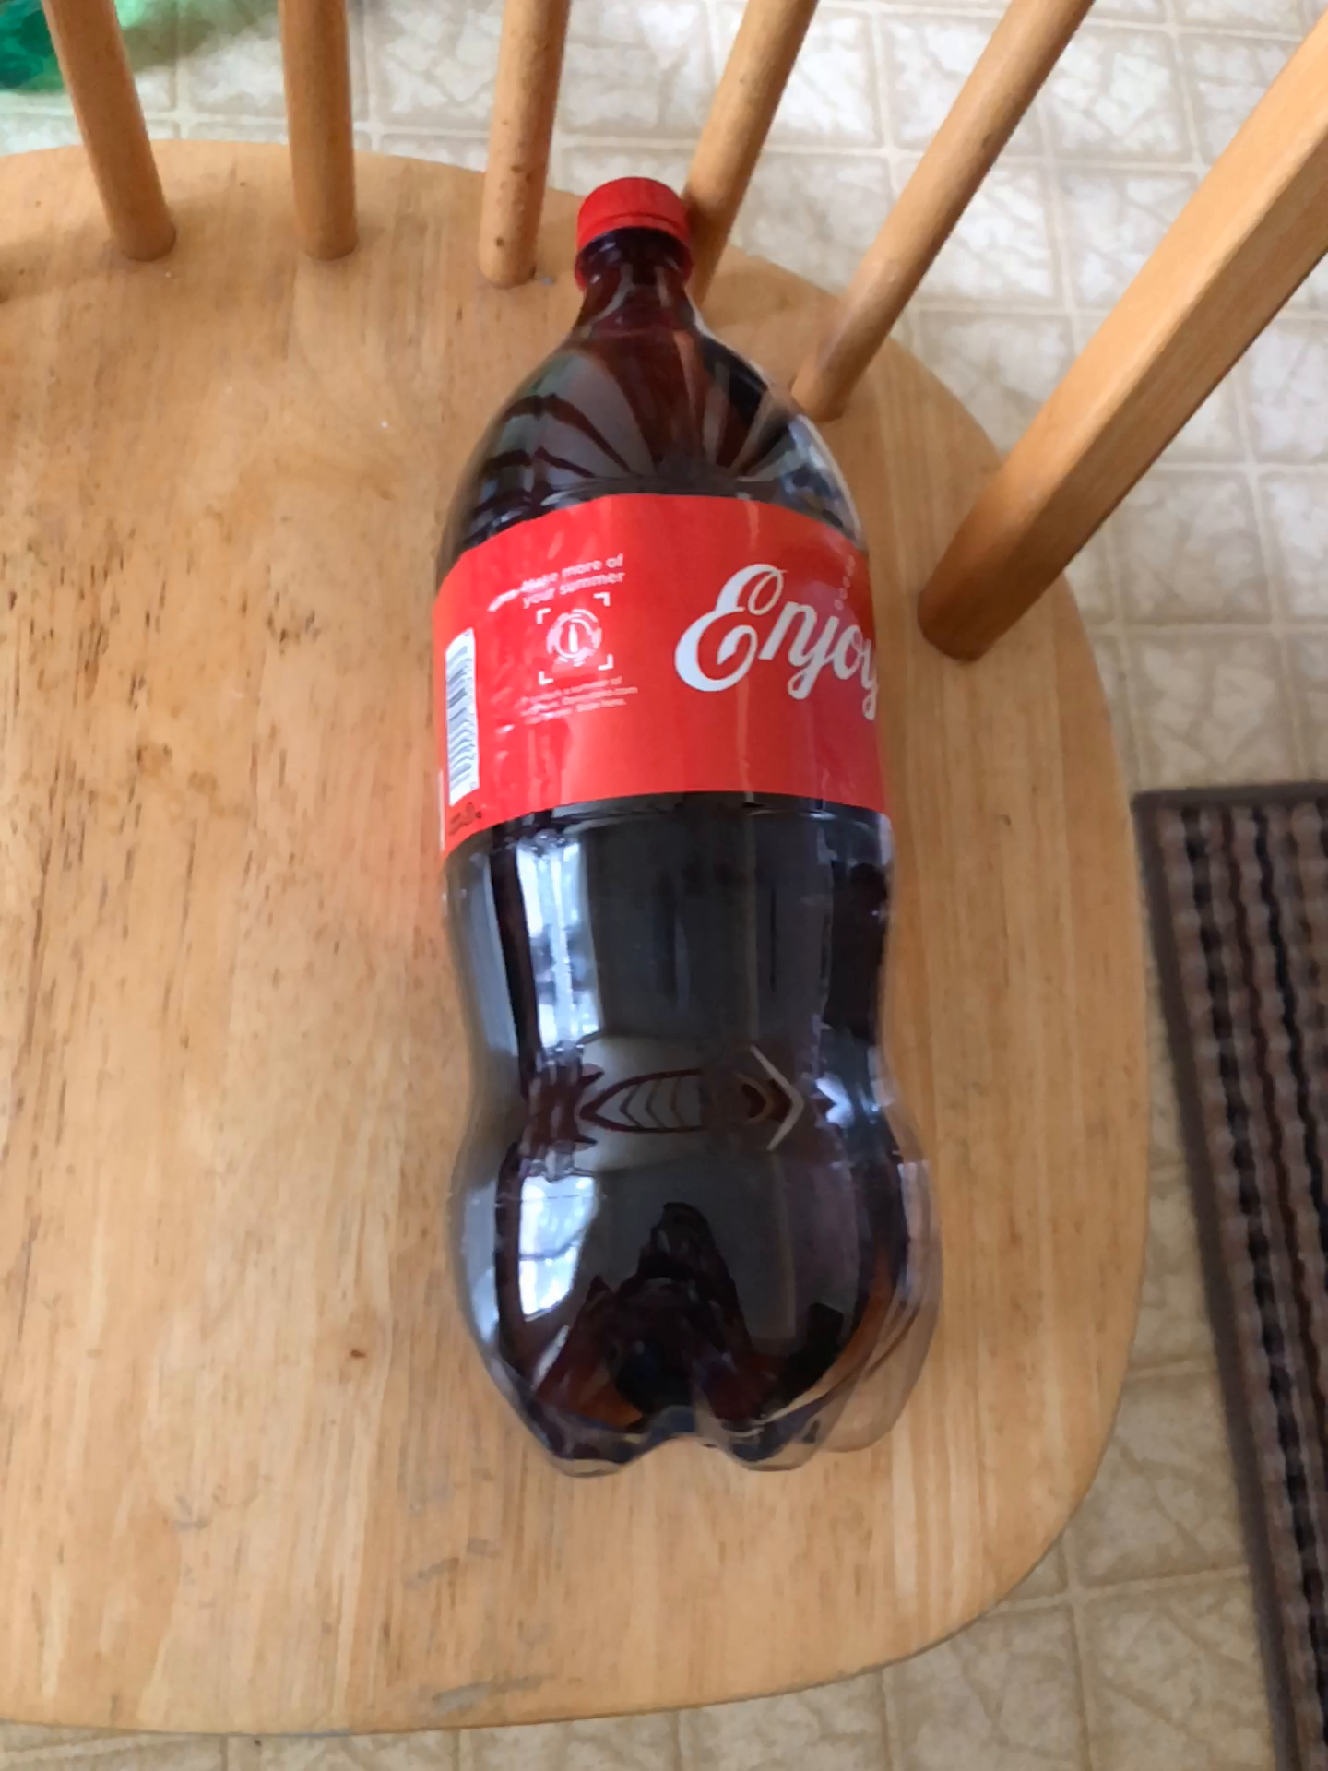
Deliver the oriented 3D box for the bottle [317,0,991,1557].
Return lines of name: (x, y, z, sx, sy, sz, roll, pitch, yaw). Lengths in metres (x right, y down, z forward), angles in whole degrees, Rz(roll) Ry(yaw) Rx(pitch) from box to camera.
bottle: (-0.002, -0.031, 0.345, 0.100, 0.120, 0.320, -8, 77, 24)
